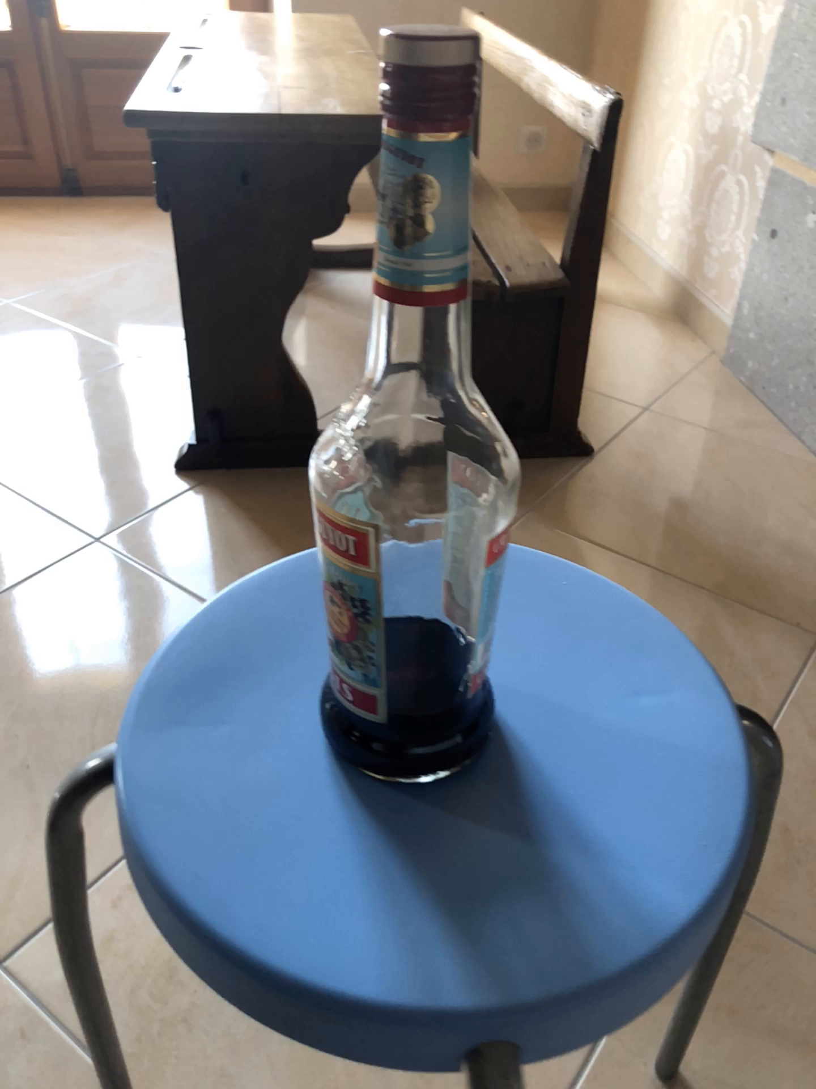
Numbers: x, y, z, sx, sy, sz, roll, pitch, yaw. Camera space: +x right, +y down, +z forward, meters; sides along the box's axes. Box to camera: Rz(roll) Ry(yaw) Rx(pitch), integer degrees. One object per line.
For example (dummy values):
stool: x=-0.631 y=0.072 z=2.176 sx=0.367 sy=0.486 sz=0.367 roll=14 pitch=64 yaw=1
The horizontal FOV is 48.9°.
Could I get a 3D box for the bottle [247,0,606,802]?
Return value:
bottle: x=0.000 y=-0.034 z=0.348 sx=0.090 sy=0.298 sz=0.091 roll=1 pitch=35 yaw=-1
